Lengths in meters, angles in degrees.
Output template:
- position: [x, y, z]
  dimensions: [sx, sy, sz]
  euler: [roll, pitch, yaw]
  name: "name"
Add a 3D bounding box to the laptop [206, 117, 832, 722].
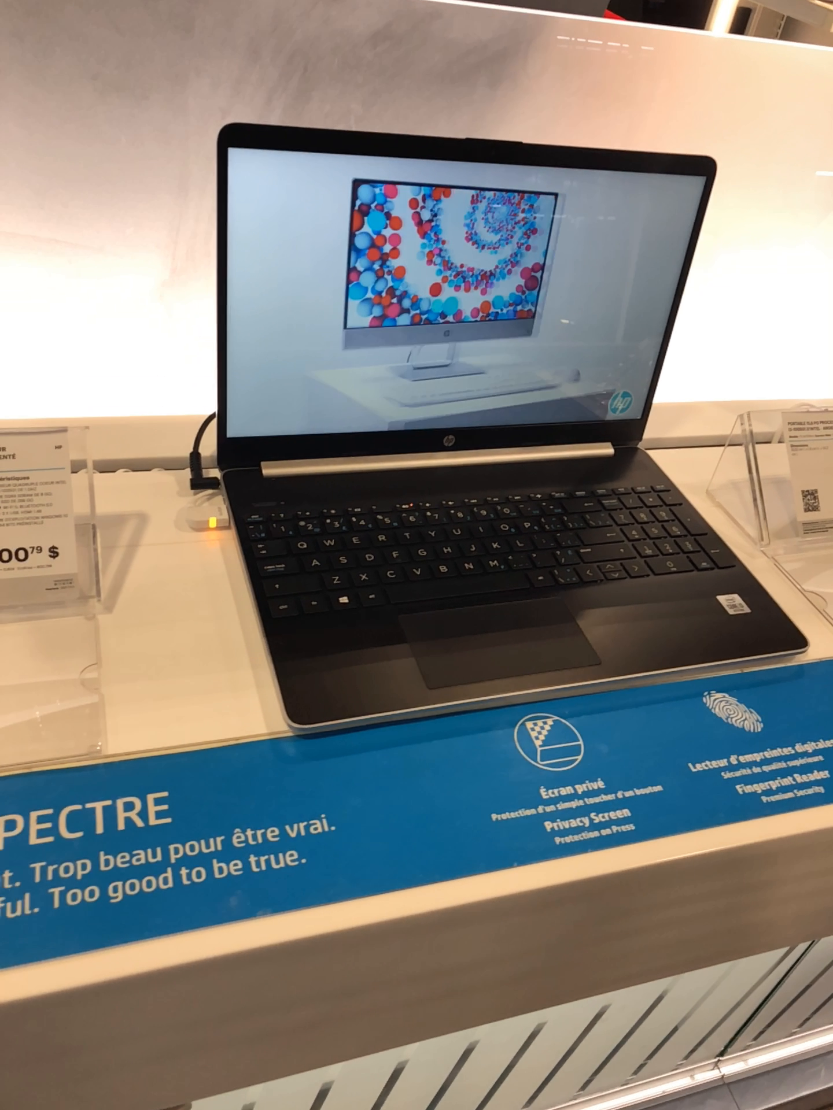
- position: [0.068, -0.103, 0.585]
  dimensions: [0.356, 0.221, 0.284]
  euler: [-5, 43, -19]
  name: "laptop"
